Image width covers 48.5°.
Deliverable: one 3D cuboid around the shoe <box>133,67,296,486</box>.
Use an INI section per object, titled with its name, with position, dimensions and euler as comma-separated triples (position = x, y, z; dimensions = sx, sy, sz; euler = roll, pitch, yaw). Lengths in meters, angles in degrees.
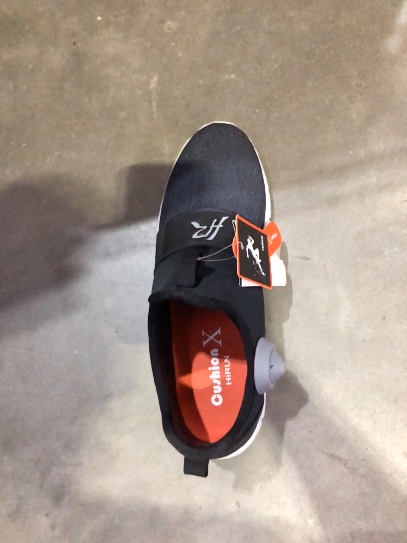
[shoe]
position = 0.017, 0.004, 0.359
dimensions = 0.100, 0.130, 0.270
euler = -1, 81, 9
